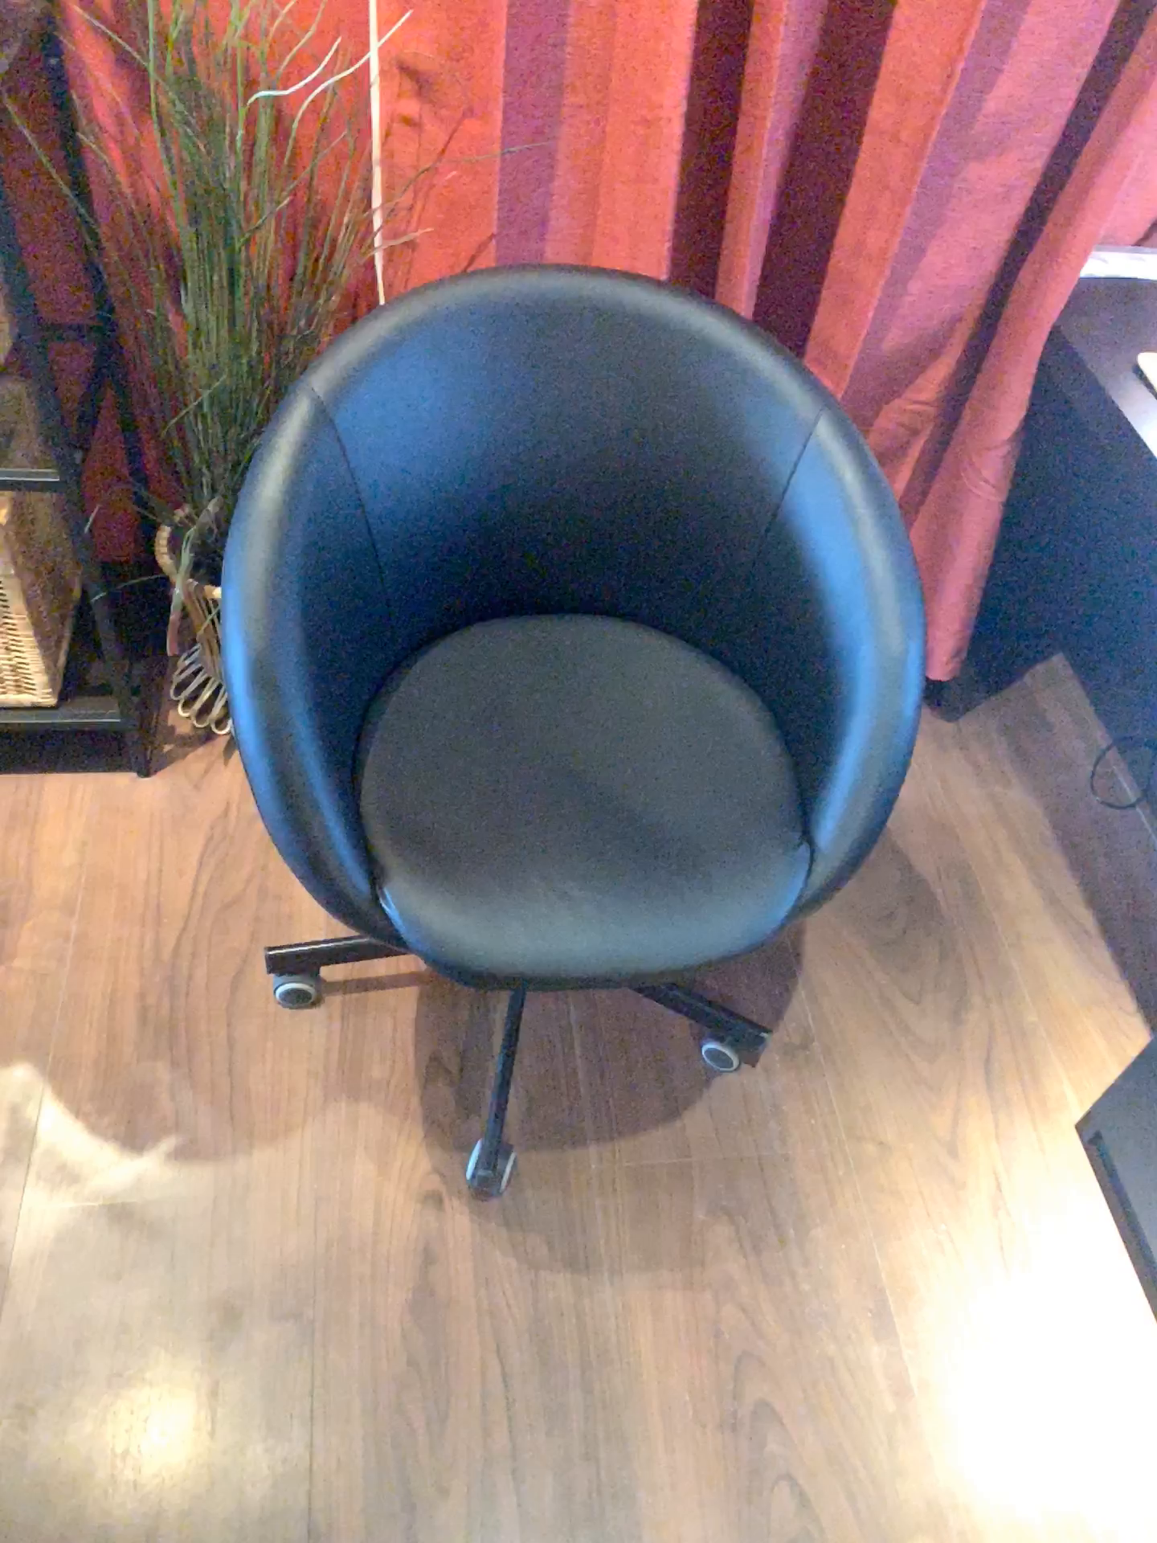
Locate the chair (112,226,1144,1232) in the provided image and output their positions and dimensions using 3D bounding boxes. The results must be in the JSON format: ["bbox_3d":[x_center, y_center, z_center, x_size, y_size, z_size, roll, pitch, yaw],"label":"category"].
[{"bbox_3d":[-0.035,-0.028,1.240,0.670,0.757,0.672,-2,49,-11],"label":"chair"}]
